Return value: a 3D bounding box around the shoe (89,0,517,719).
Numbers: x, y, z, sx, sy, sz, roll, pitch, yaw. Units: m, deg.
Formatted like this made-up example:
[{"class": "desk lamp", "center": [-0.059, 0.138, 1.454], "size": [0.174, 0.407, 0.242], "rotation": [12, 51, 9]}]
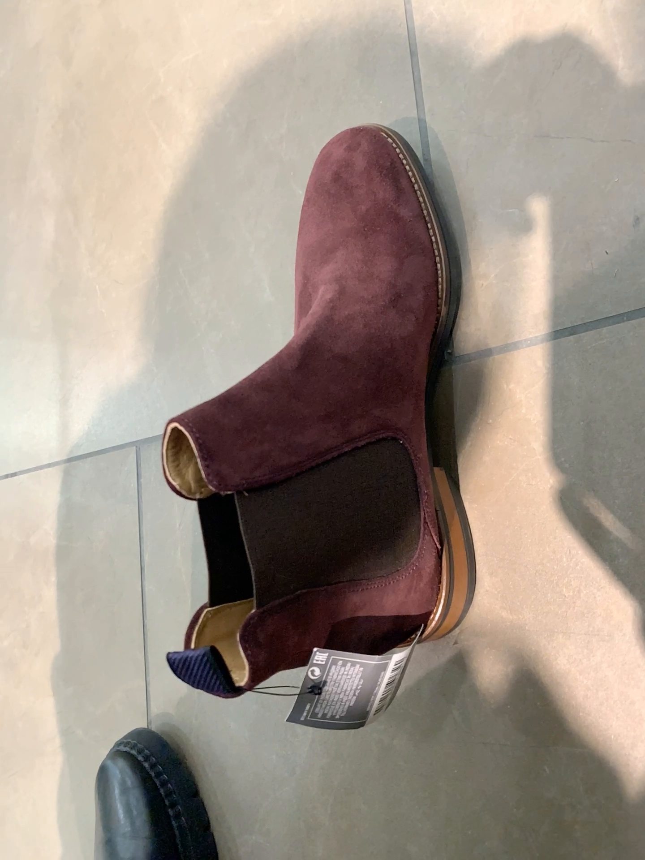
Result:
[{"class": "shoe", "center": [-0.011, -0.033, 0.343], "size": [0.114, 0.161, 0.298], "rotation": [-15, 77, 39]}]
